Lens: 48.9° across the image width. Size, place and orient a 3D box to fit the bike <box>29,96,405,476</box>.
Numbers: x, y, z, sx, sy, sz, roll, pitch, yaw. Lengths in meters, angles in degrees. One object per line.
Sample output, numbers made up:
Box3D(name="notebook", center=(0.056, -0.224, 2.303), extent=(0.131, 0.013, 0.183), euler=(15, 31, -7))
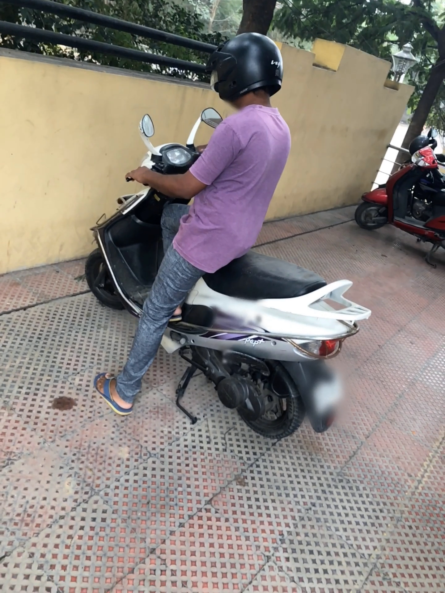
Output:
Box3D(name="bike", center=(-0.141, -0.147, 2.296), extent=(1.502, 0.949, 0.646), euler=(35, 32, 27))
